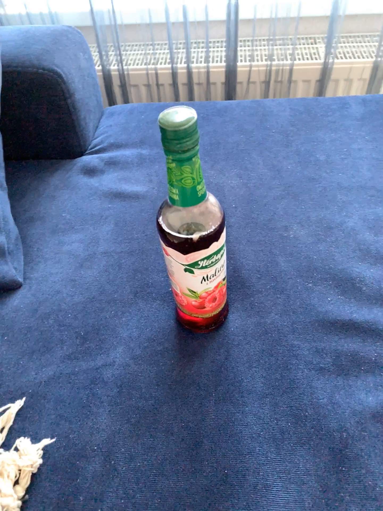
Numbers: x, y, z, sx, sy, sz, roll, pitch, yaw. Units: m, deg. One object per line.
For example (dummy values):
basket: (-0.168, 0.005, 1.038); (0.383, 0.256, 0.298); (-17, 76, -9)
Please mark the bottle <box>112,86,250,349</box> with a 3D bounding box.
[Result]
bottle: (-0.001, -0.015, 0.373); (0.070, 0.249, 0.070); (-2, 49, 3)
